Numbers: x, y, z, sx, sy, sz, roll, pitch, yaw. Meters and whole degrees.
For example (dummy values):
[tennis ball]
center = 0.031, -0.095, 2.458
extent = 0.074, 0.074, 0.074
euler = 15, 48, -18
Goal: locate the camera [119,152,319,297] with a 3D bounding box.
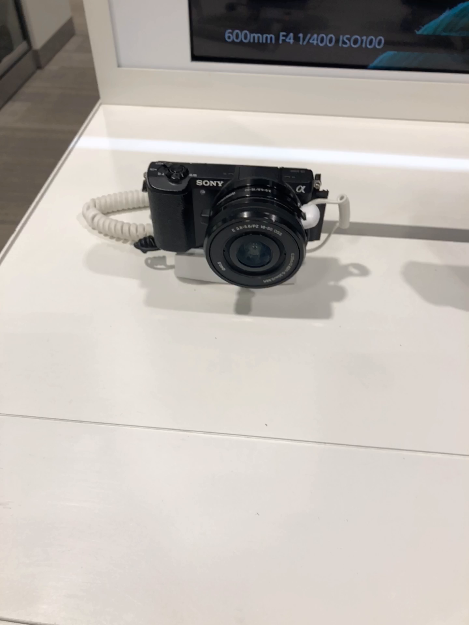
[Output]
[camera]
center = -0.006, -0.057, 0.335
extent = 0.113, 0.060, 0.062
euler = 4, 46, 5
